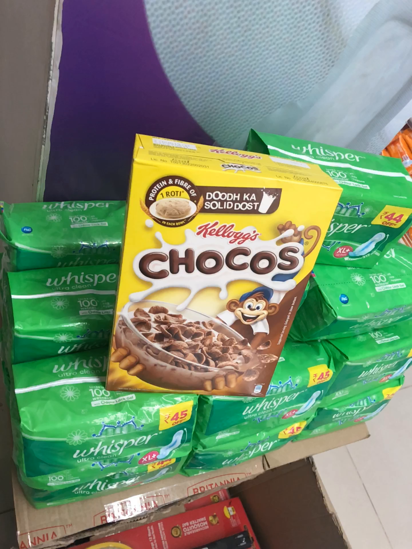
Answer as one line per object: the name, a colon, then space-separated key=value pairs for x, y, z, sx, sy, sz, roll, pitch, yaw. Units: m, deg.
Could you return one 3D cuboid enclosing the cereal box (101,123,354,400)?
cereal box: x=0.003 y=0.003 z=0.465 sx=0.190 sy=0.259 sz=0.080 roll=6 pitch=31 yaw=-12
